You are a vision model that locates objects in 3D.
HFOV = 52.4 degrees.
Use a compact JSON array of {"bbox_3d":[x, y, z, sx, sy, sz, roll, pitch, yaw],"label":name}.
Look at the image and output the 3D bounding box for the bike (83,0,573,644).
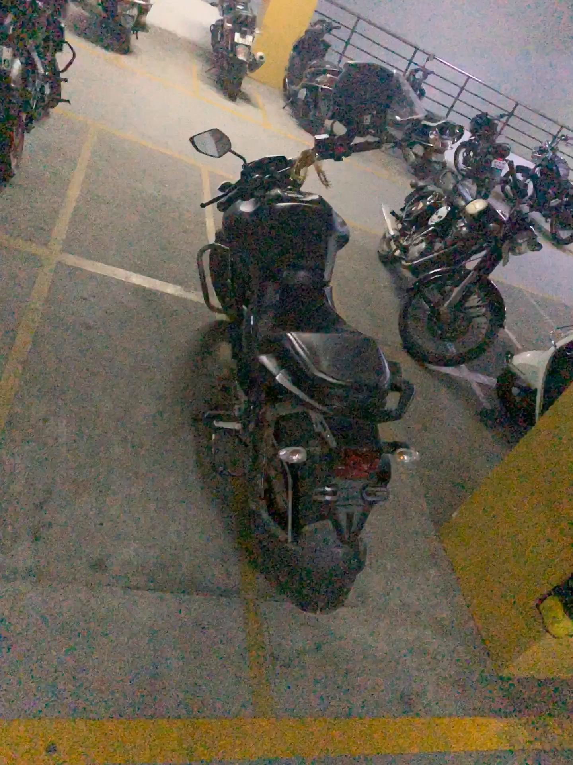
[{"bbox_3d":[-0.097,-0.304,1.900,0.787,1.096,1.740,9,41,-29],"label":"bike"}]
